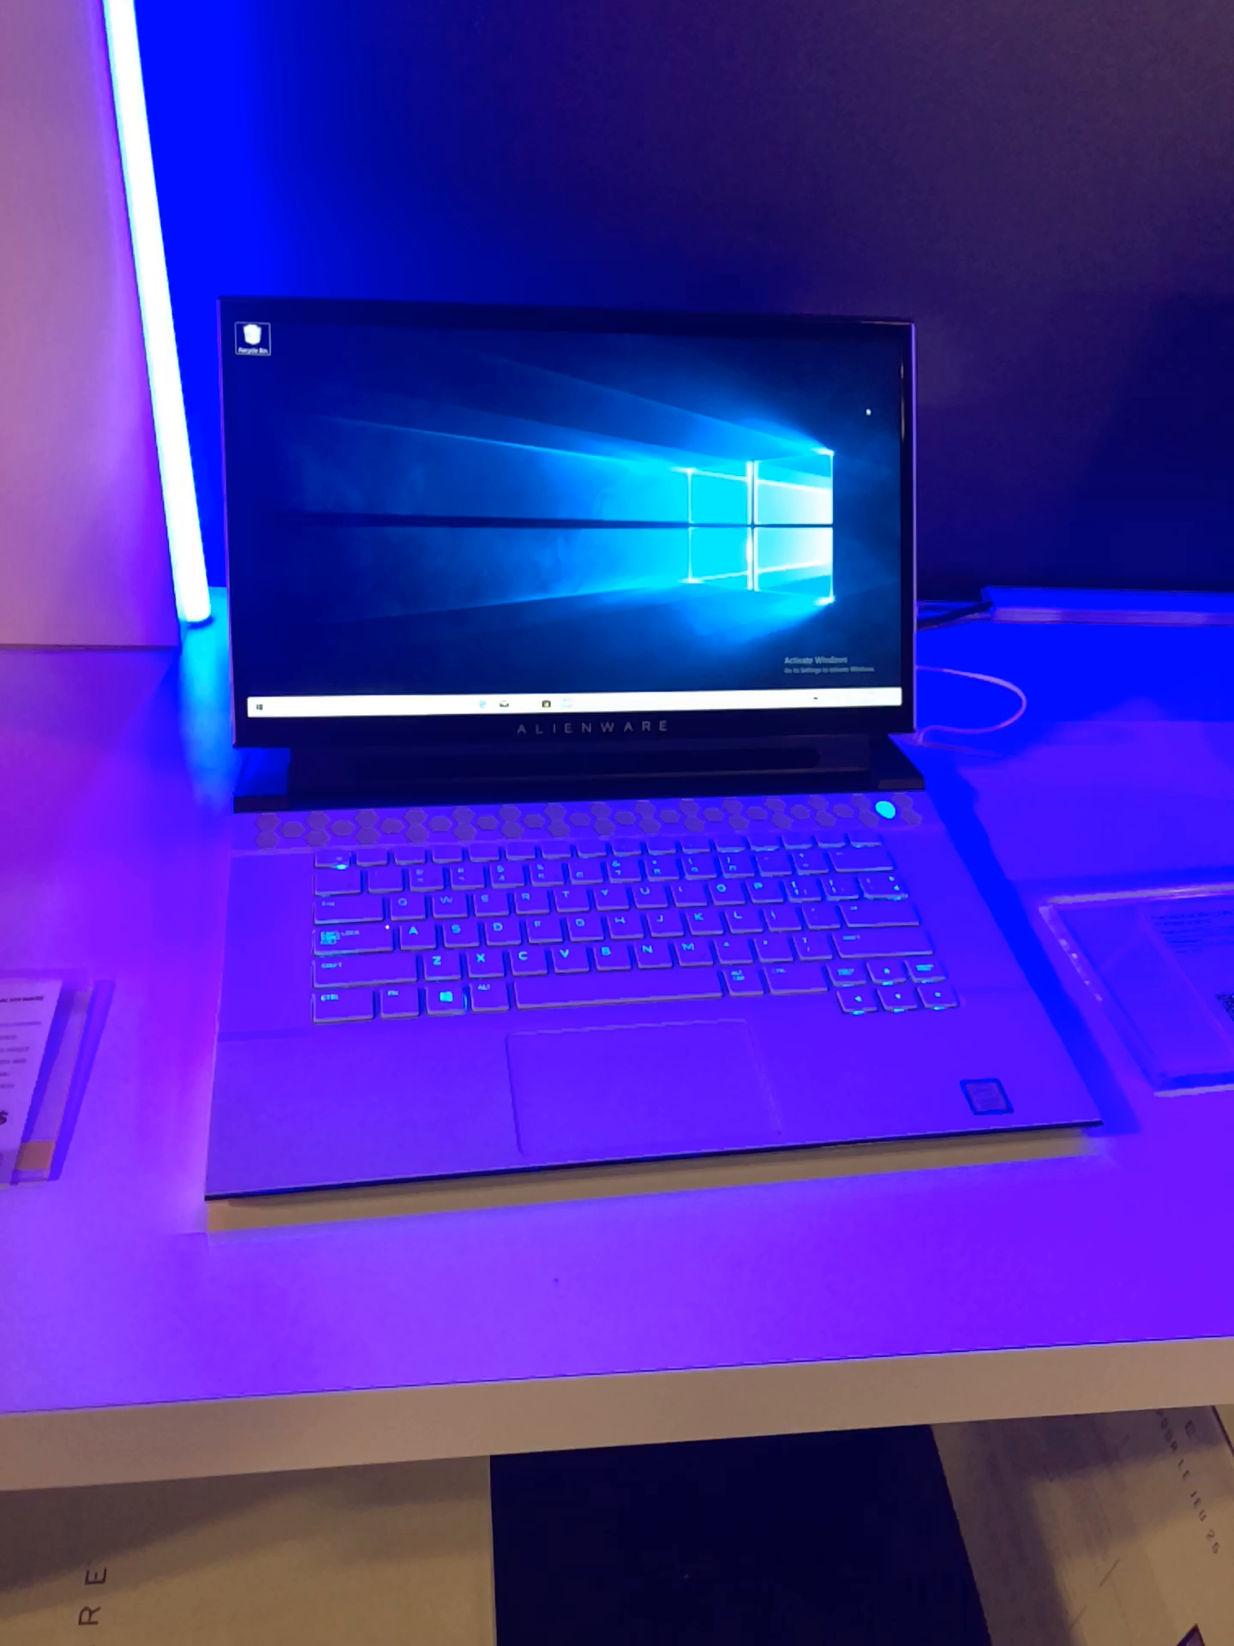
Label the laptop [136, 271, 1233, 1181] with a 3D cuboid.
[{"bbox_3d":[0.000,-0.071,0.617,0.356,0.194,0.381,-1,41,-10],"label":"laptop"}]
